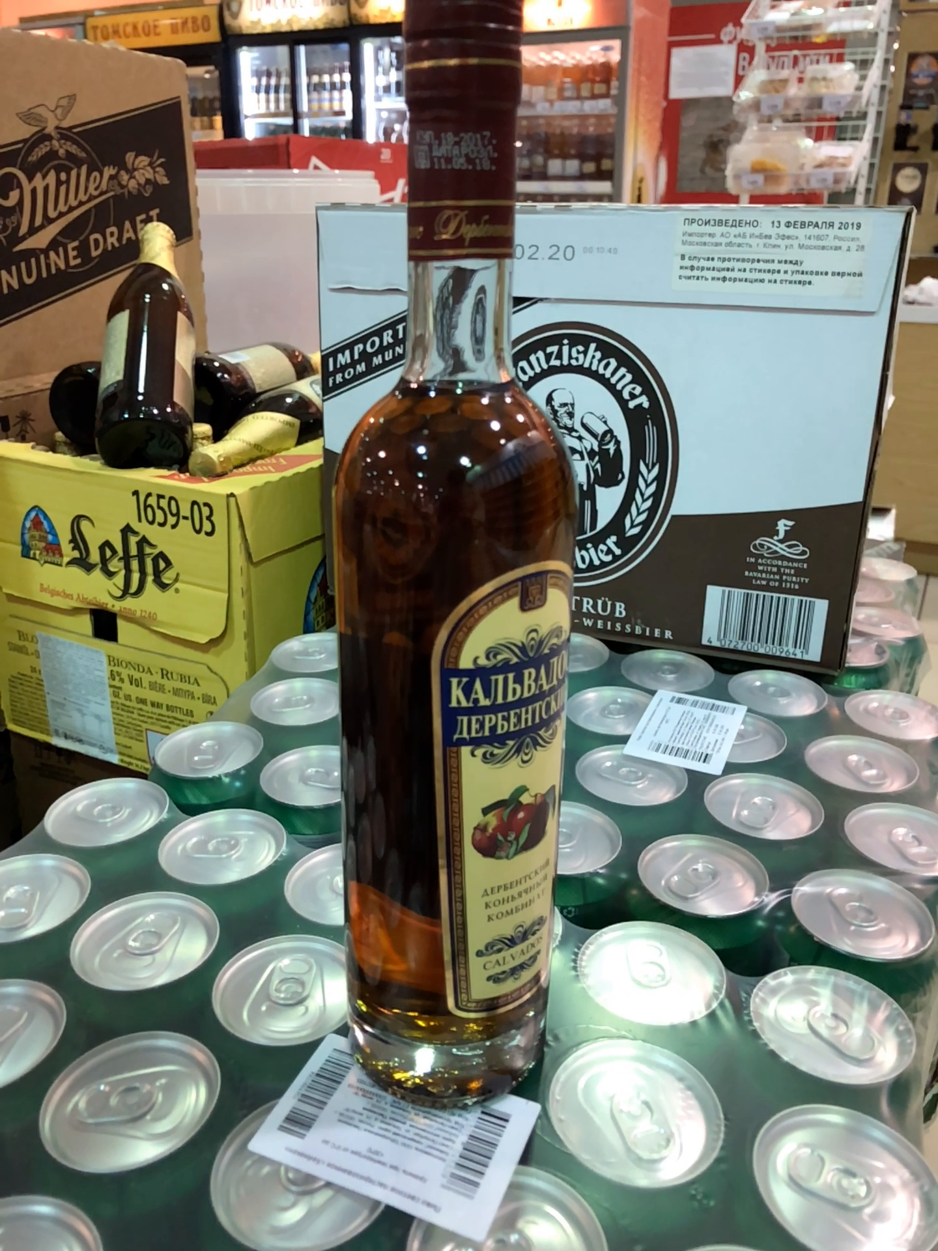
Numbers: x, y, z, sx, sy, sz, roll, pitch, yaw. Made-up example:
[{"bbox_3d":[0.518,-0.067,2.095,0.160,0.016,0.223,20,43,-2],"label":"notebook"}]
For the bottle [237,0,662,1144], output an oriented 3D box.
[{"bbox_3d":[-0.005,-0.007,0.291,0.070,0.298,0.070,0,21,0],"label":"bottle"}]
